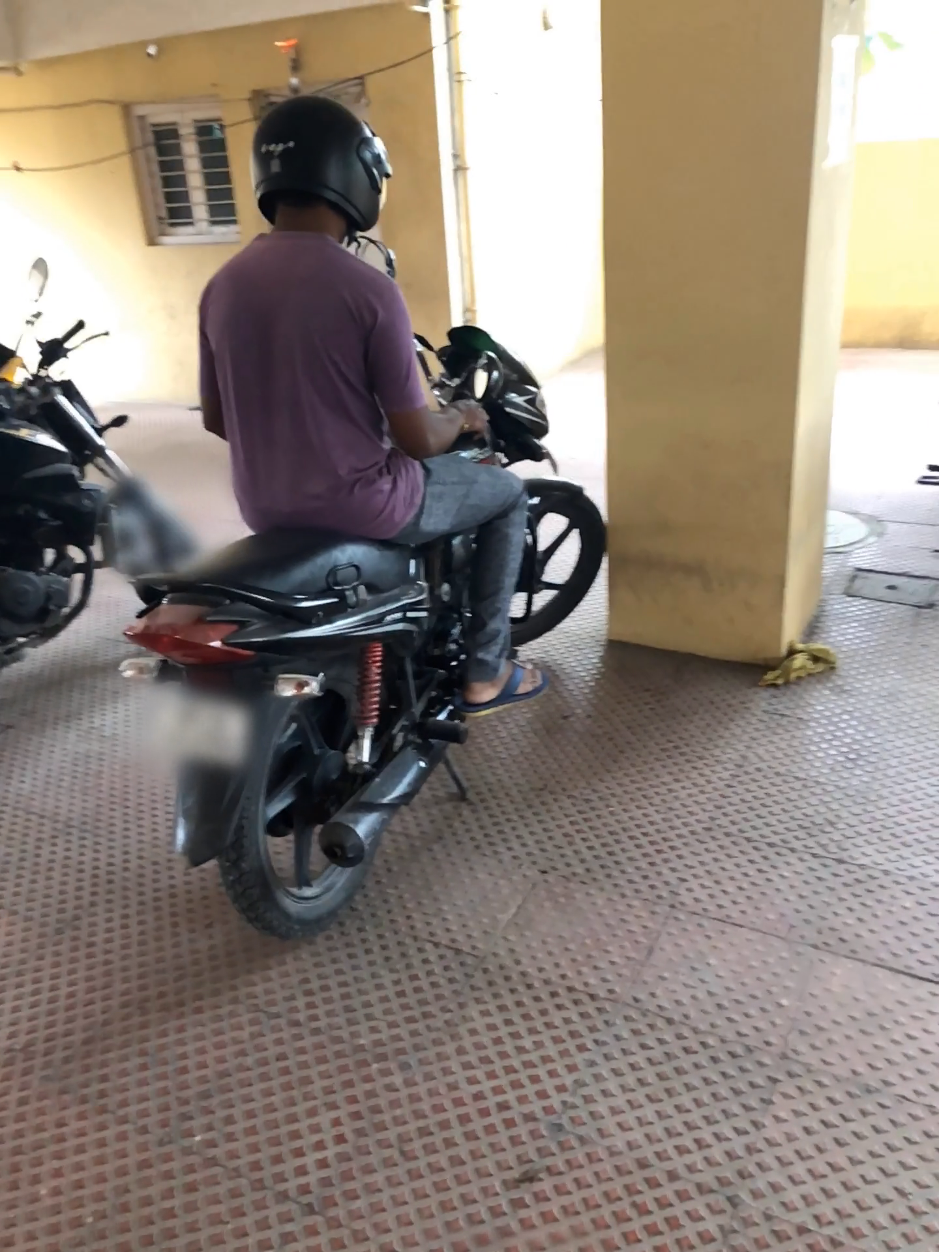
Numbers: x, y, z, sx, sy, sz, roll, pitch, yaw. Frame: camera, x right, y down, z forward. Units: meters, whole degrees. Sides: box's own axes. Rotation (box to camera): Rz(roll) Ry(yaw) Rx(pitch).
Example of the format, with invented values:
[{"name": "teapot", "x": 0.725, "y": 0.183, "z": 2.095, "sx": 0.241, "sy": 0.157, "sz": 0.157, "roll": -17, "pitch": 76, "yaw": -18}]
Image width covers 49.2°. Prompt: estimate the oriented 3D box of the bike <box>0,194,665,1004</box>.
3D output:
[{"name": "bike", "x": -0.139, "y": -0.247, "z": 2.415, "sx": 0.632, "sy": 1.063, "sz": 1.652, "roll": 9, "pitch": 33, "yaw": 28}]
